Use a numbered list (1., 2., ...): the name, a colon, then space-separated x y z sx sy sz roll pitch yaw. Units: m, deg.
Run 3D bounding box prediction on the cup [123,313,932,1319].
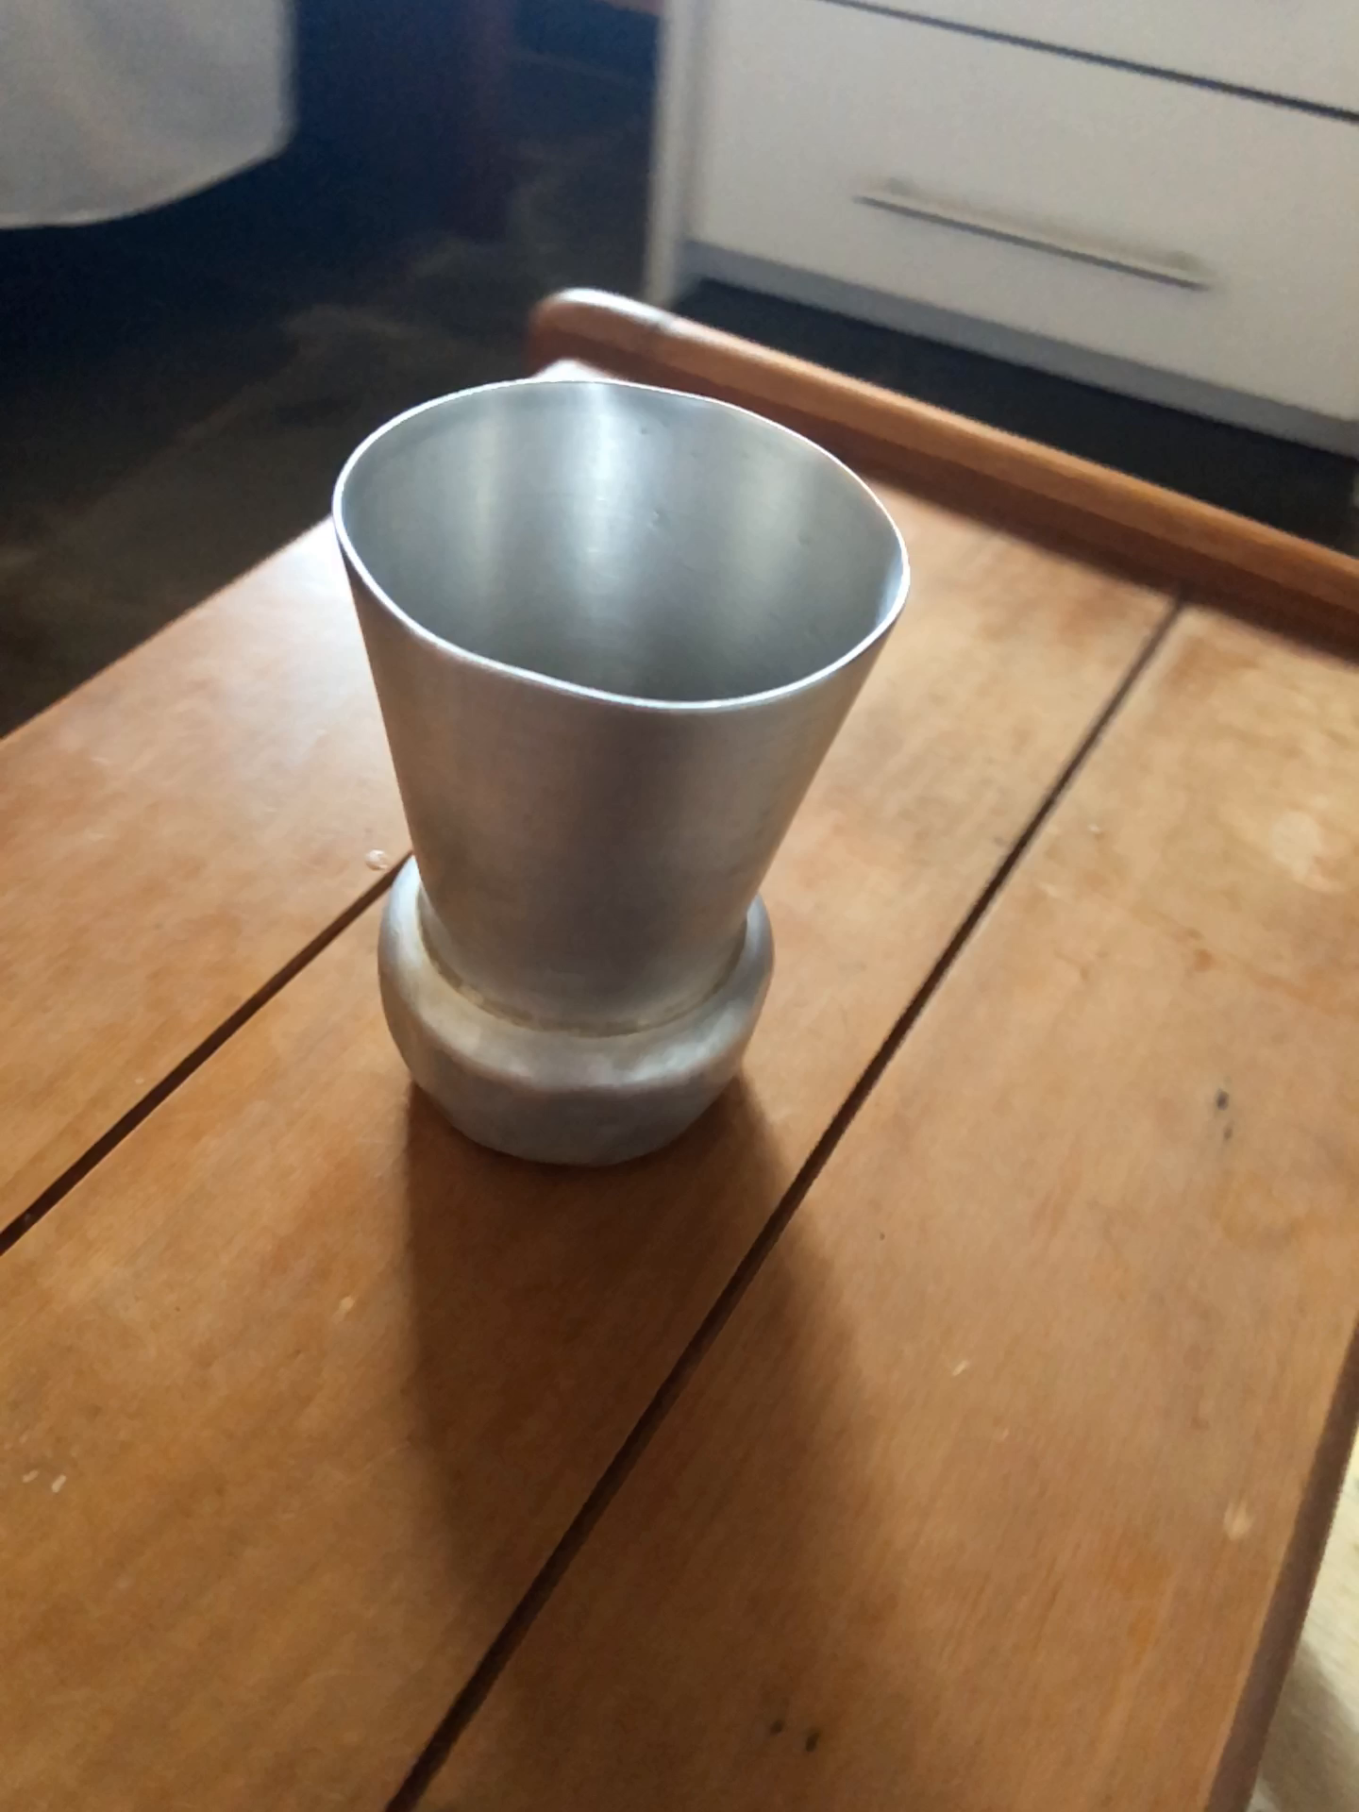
1. cup: -0.019 -0.011 0.221 0.070 0.109 0.070 3 46 -3
